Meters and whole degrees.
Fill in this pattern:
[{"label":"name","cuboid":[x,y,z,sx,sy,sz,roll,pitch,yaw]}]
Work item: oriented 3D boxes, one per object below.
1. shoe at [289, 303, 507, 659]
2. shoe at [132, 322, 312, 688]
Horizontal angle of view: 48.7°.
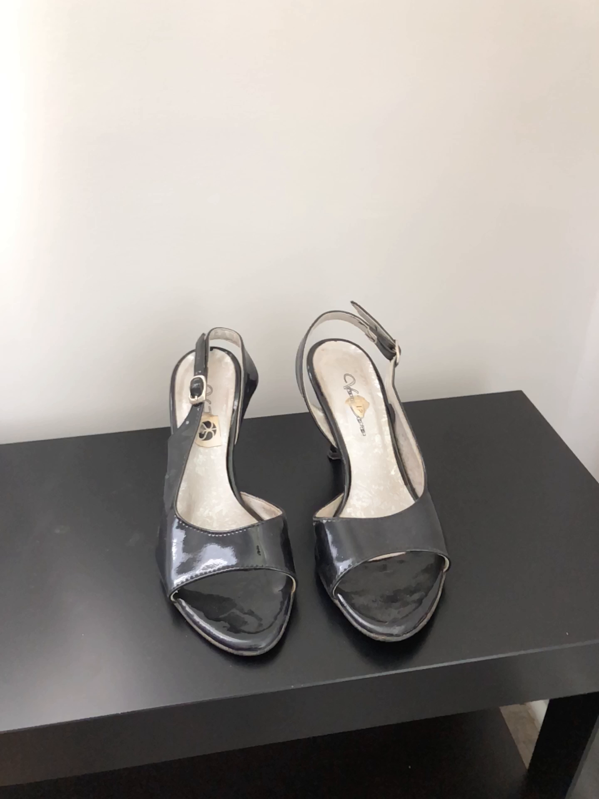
[{"label":"shoe","cuboid":[0.045,0.035,0.420,0.083,0.110,0.211,-4,33,-4]},{"label":"shoe","cuboid":[-0.056,0.050,0.424,0.083,0.110,0.211,-7,33,-9]}]
